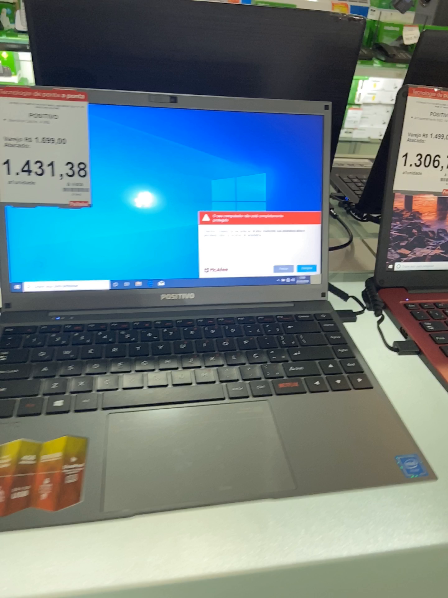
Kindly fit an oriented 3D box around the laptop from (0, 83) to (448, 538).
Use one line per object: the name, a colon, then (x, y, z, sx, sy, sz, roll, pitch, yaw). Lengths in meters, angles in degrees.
laptop: (-0.032, -0.034, 0.376, 0.330, 0.183, 0.321, -1, 35, -11)
